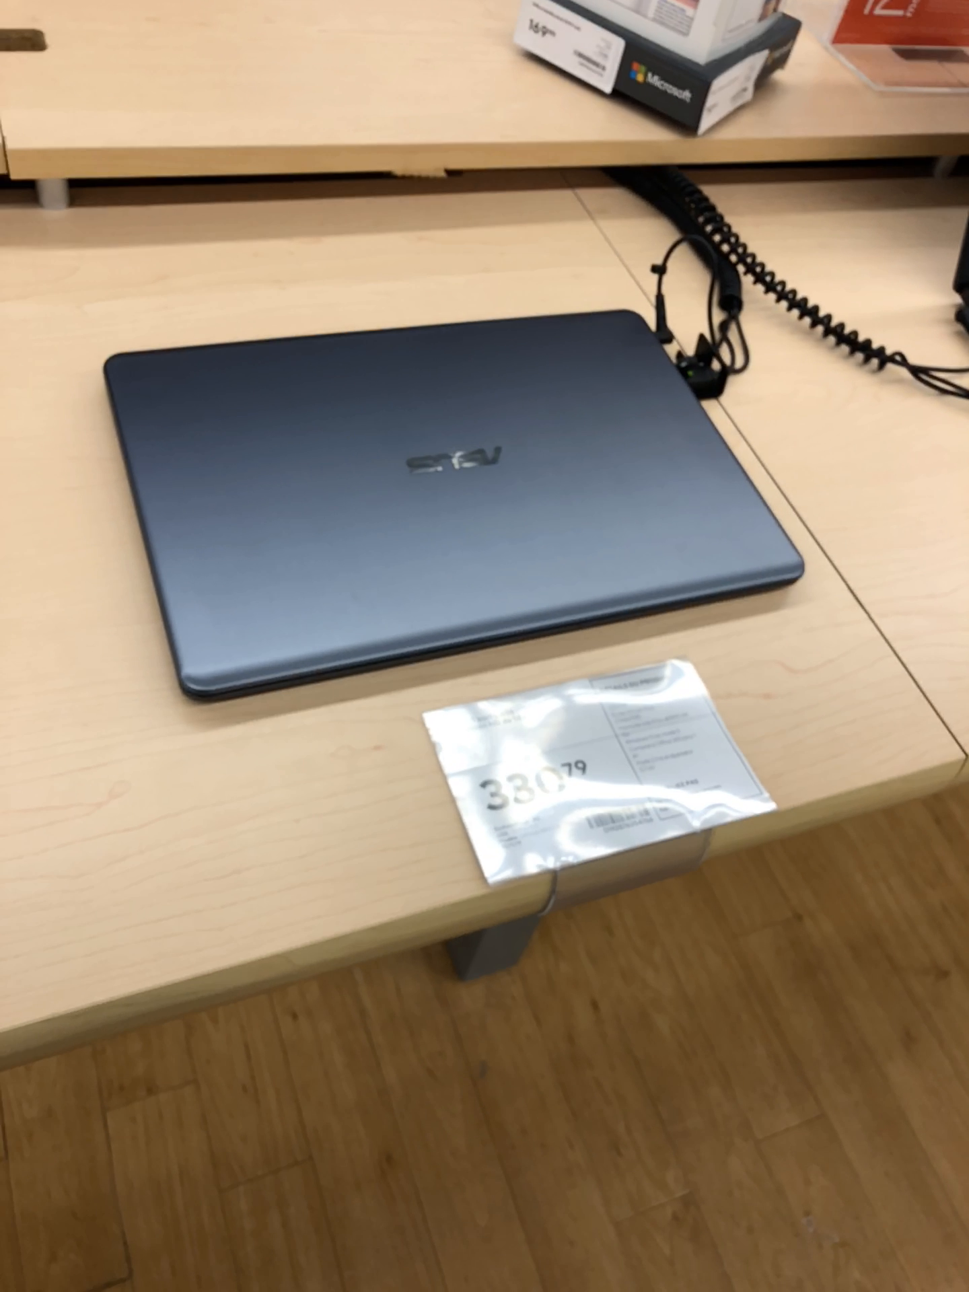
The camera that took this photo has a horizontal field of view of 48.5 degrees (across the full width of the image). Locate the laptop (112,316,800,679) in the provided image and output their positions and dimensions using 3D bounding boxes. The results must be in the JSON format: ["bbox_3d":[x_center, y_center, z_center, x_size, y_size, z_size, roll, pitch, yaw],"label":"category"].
[{"bbox_3d":[-0.015,-0.097,0.575,0.318,0.001,0.210,-11,57,-20],"label":"laptop"}]
